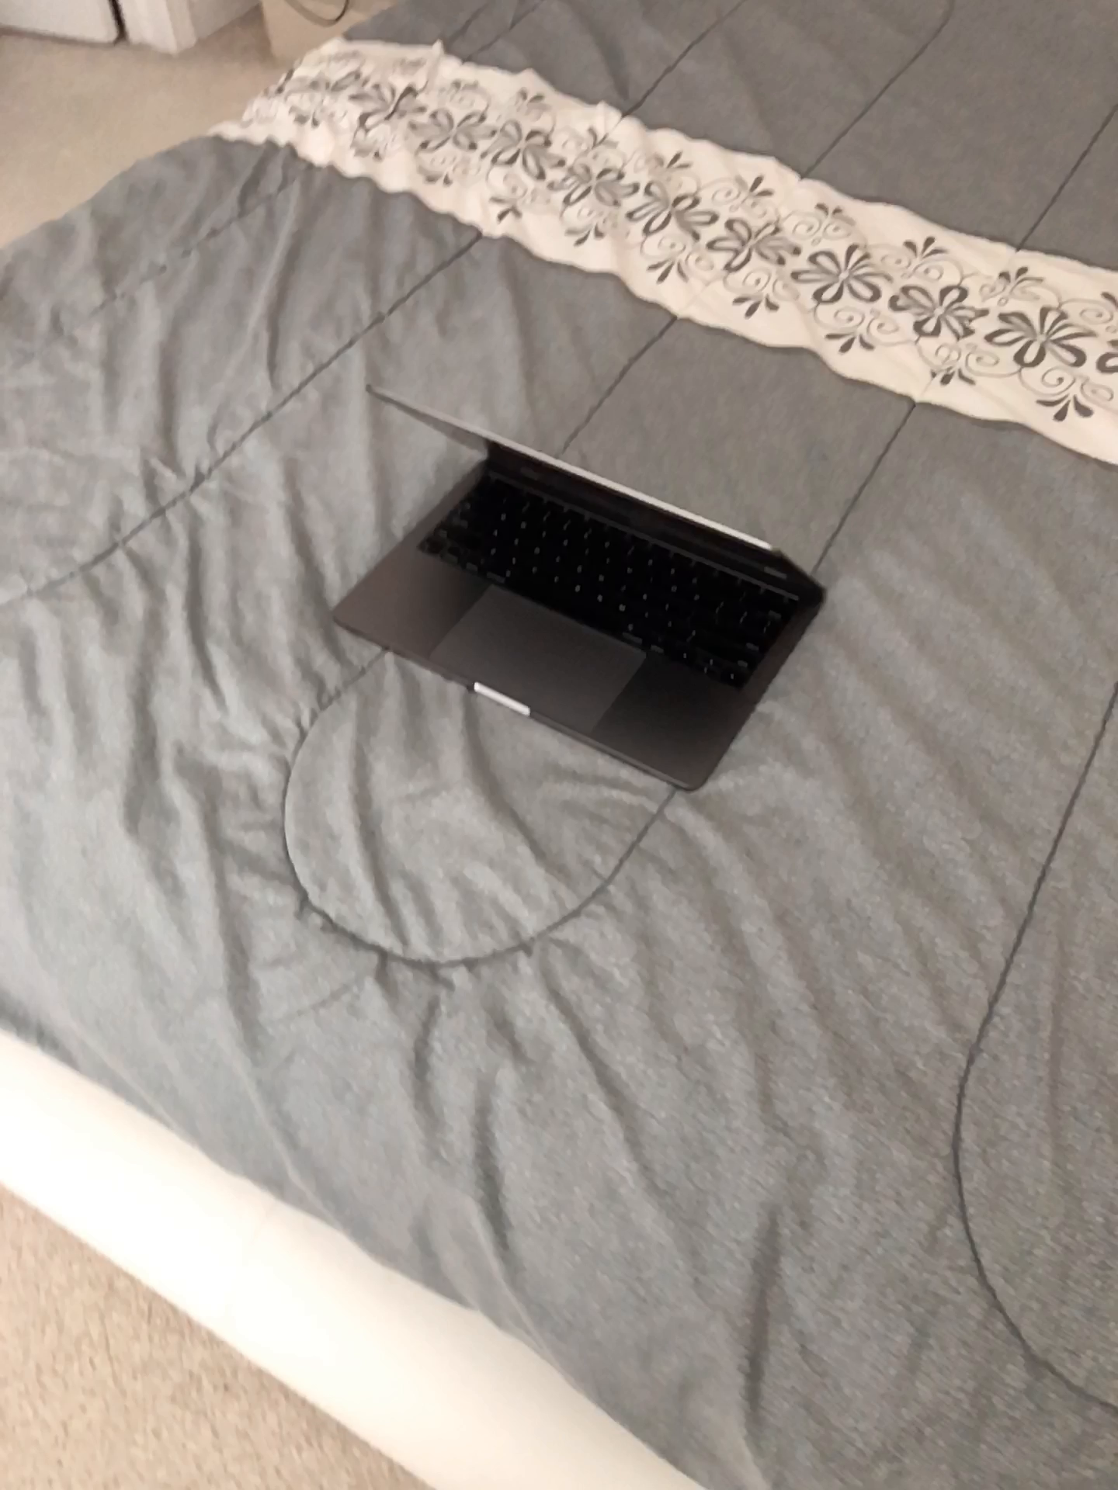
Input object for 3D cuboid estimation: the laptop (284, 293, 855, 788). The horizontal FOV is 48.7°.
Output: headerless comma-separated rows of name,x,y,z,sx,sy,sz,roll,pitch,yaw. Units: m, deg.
laptop,0.009,-0.139,0.783,0.278,0.140,0.195,25,57,20
